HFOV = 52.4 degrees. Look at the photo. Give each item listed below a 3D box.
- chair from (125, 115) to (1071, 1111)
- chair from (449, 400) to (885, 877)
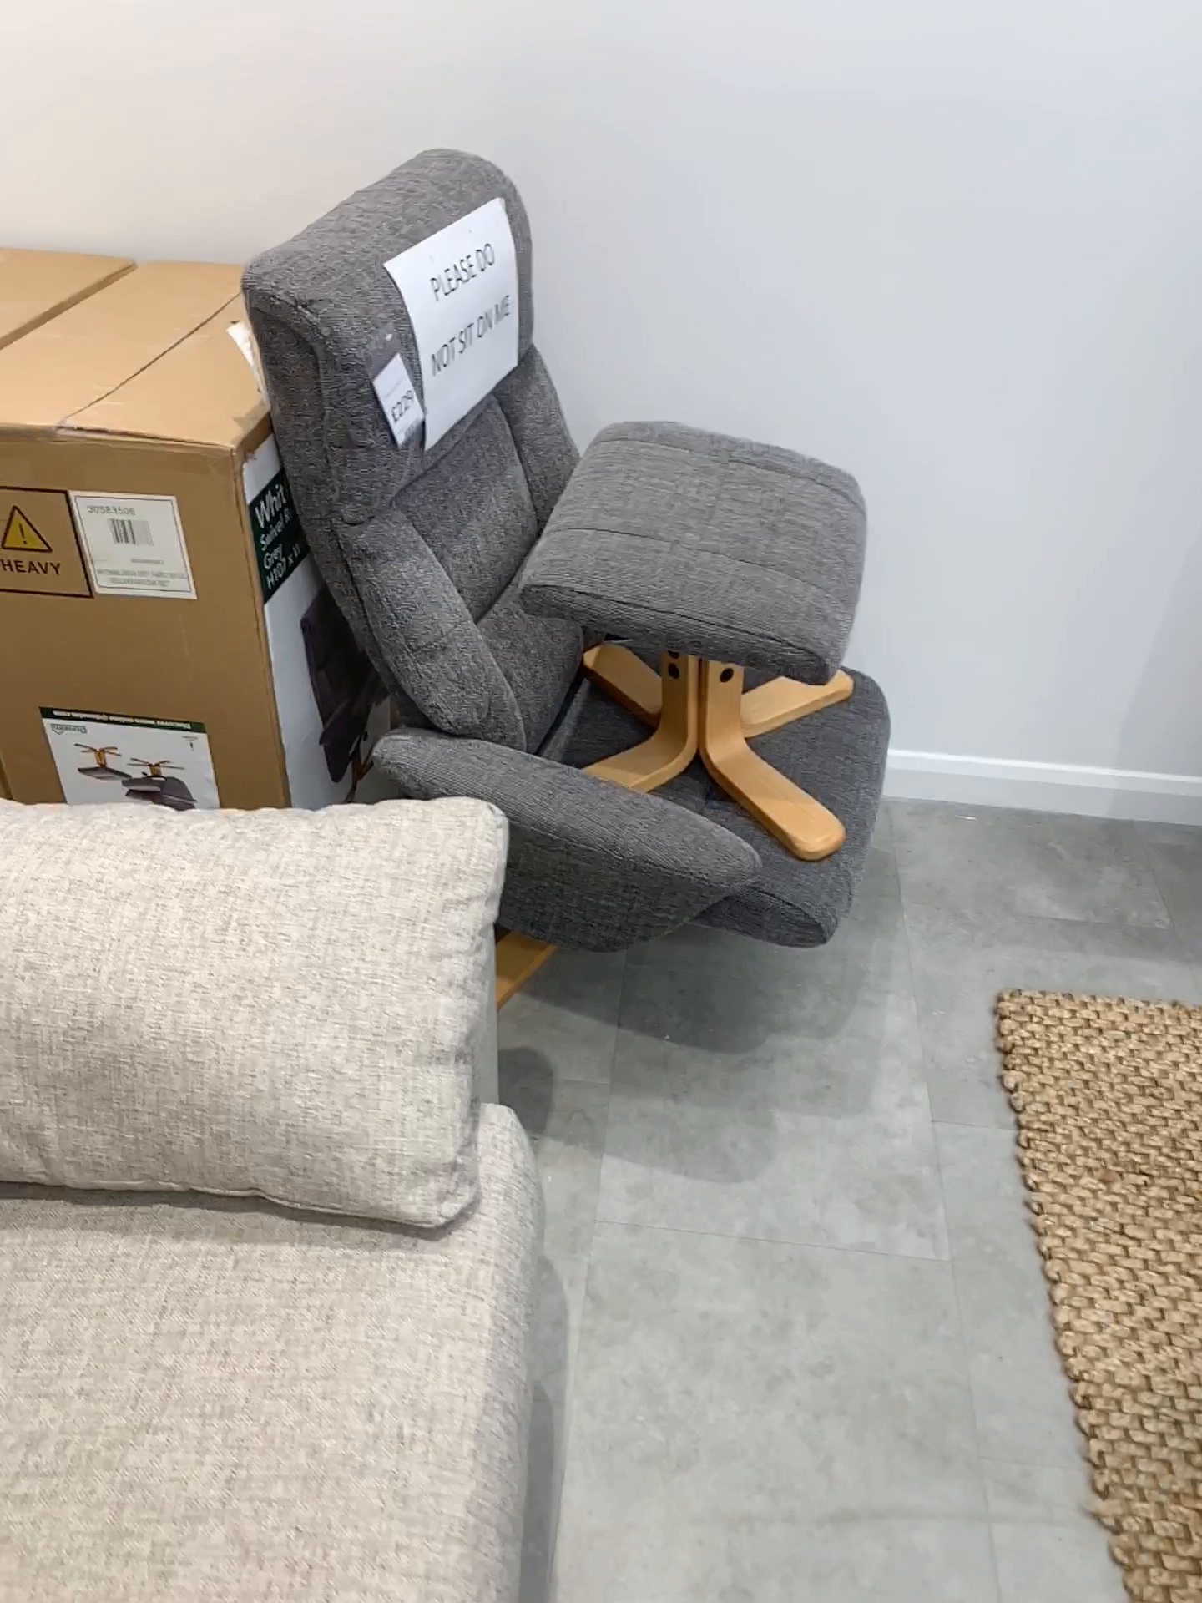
[{"bbox_3d":[0.048,-0.301,1.602,0.786,0.896,0.875,9,37,8],"label":"chair"},{"bbox_3d":[0.102,-0.232,1.559,0.445,0.352,0.501,9,37,8],"label":"chair"}]
